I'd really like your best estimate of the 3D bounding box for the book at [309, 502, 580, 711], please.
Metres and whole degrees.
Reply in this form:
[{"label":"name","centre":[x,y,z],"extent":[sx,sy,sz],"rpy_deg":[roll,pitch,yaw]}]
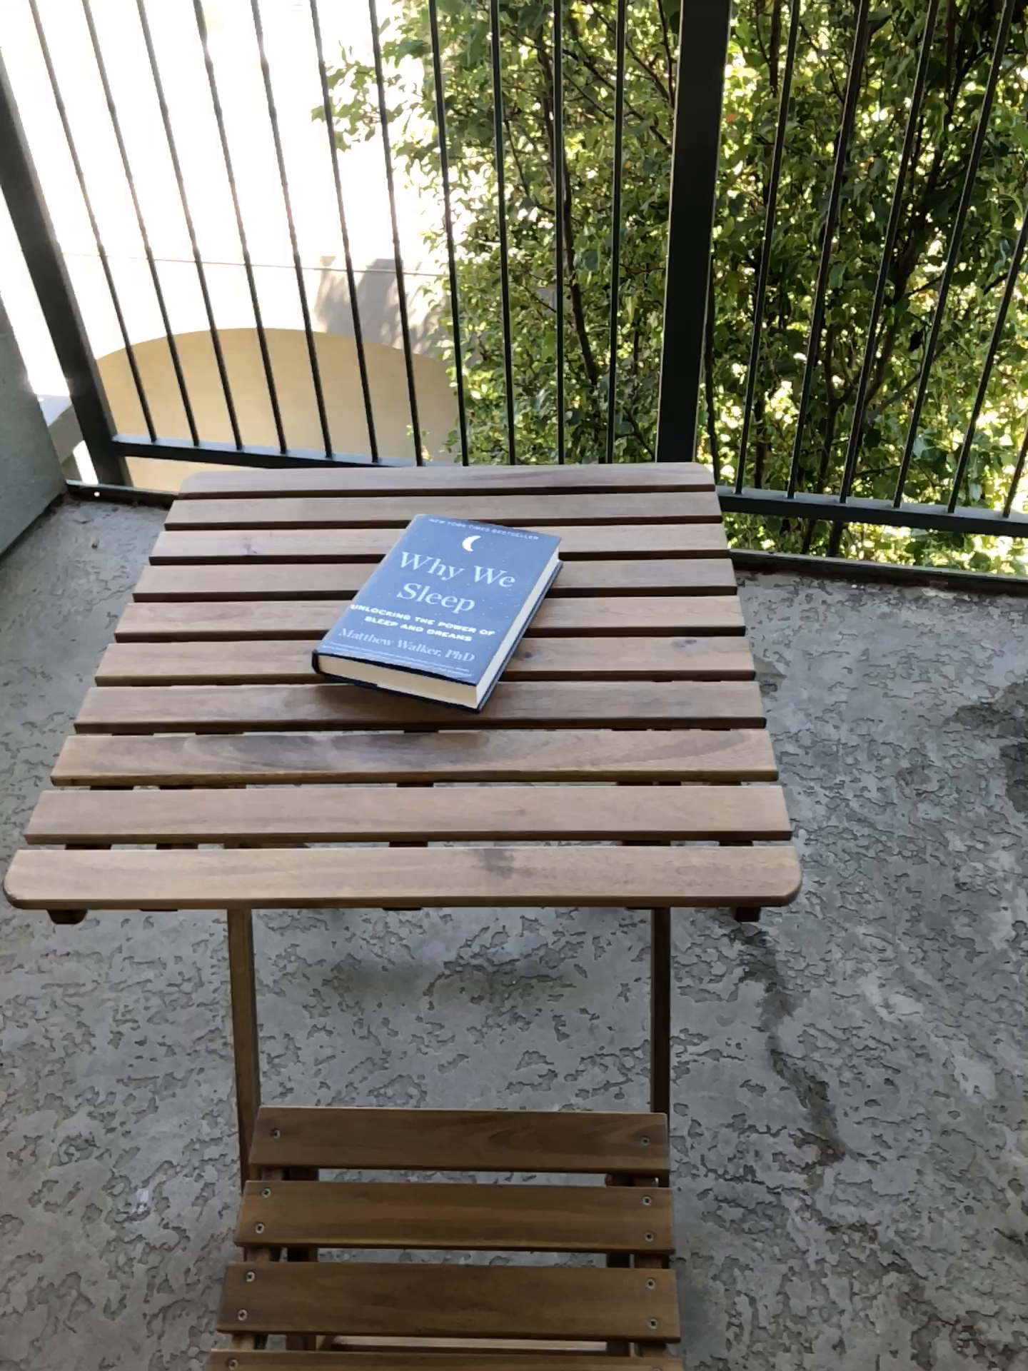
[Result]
[{"label":"book","centre":[-0.057,-0.082,1.062],"extent":[0.170,0.029,0.235],"rpy_deg":[13,44,17]}]
